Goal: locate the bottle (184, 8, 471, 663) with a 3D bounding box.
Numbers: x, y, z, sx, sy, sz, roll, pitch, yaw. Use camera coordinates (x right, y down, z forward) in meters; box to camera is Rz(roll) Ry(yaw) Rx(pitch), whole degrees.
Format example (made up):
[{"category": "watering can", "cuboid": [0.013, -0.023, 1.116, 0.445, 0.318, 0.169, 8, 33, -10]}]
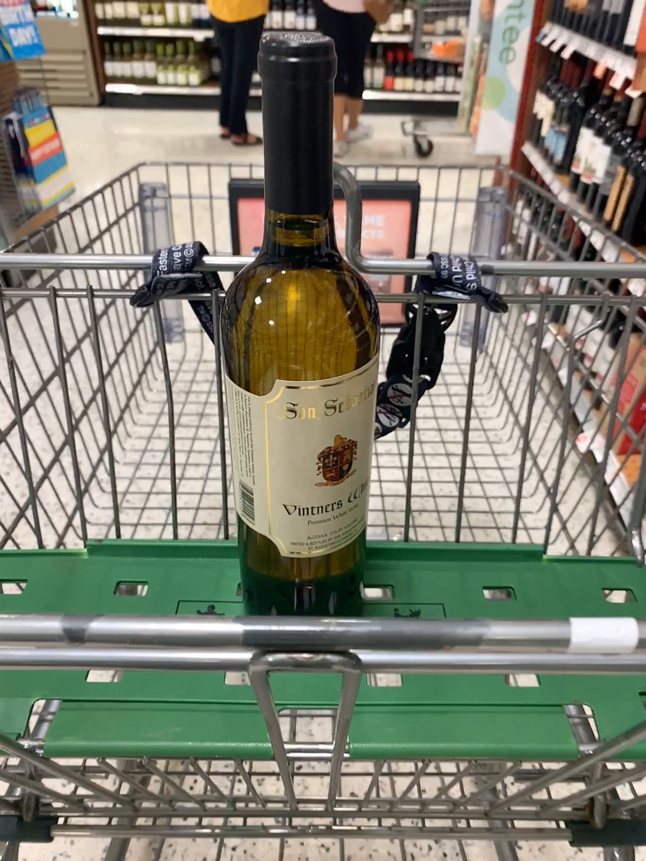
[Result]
[{"category": "bottle", "cuboid": [-0.002, -0.024, 0.331, 0.080, 0.307, 0.071, -17, 39, -23]}]
